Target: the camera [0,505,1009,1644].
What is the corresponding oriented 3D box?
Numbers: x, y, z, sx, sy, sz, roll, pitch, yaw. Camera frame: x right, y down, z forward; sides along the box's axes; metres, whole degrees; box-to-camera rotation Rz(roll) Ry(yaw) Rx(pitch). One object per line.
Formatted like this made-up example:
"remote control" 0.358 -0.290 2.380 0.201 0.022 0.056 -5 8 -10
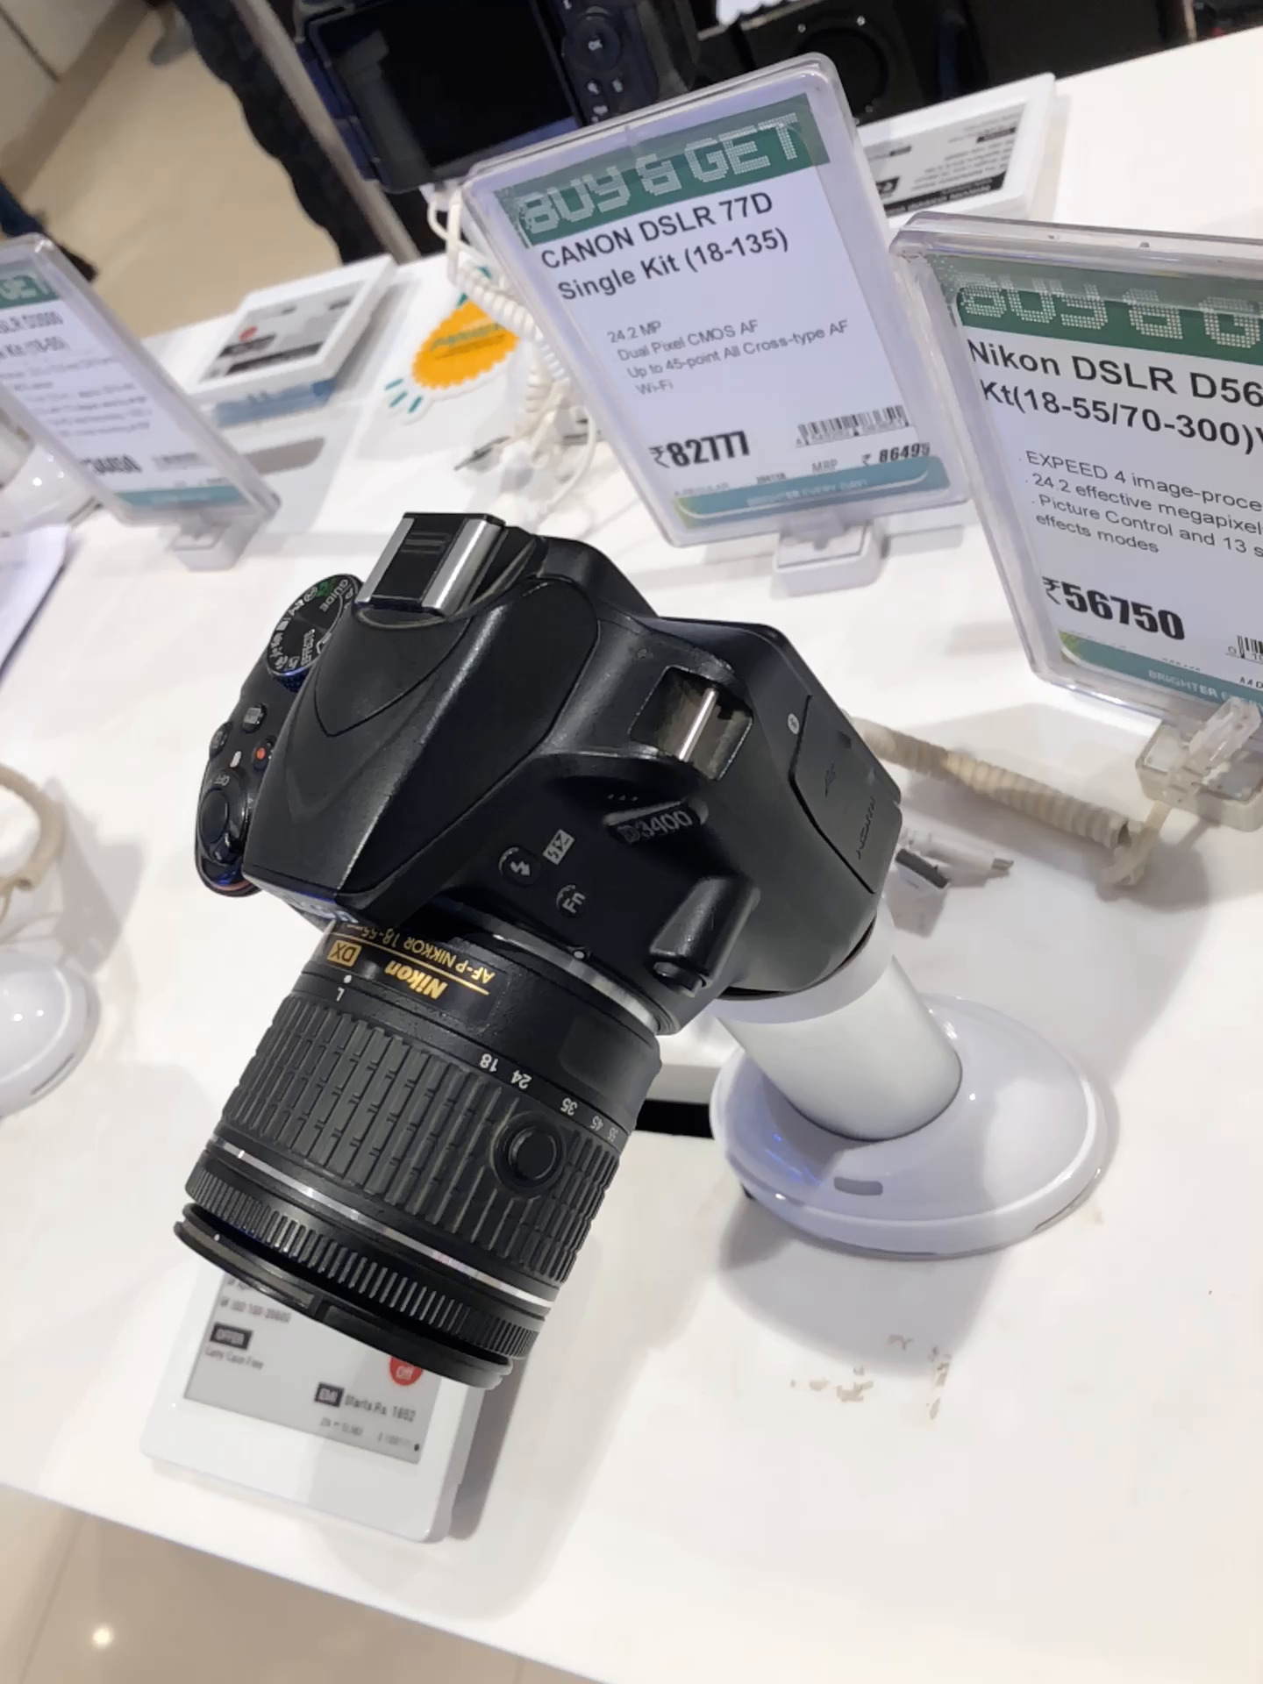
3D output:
"camera" -0.034 0.025 0.219 0.131 0.089 0.120 11 65 36
